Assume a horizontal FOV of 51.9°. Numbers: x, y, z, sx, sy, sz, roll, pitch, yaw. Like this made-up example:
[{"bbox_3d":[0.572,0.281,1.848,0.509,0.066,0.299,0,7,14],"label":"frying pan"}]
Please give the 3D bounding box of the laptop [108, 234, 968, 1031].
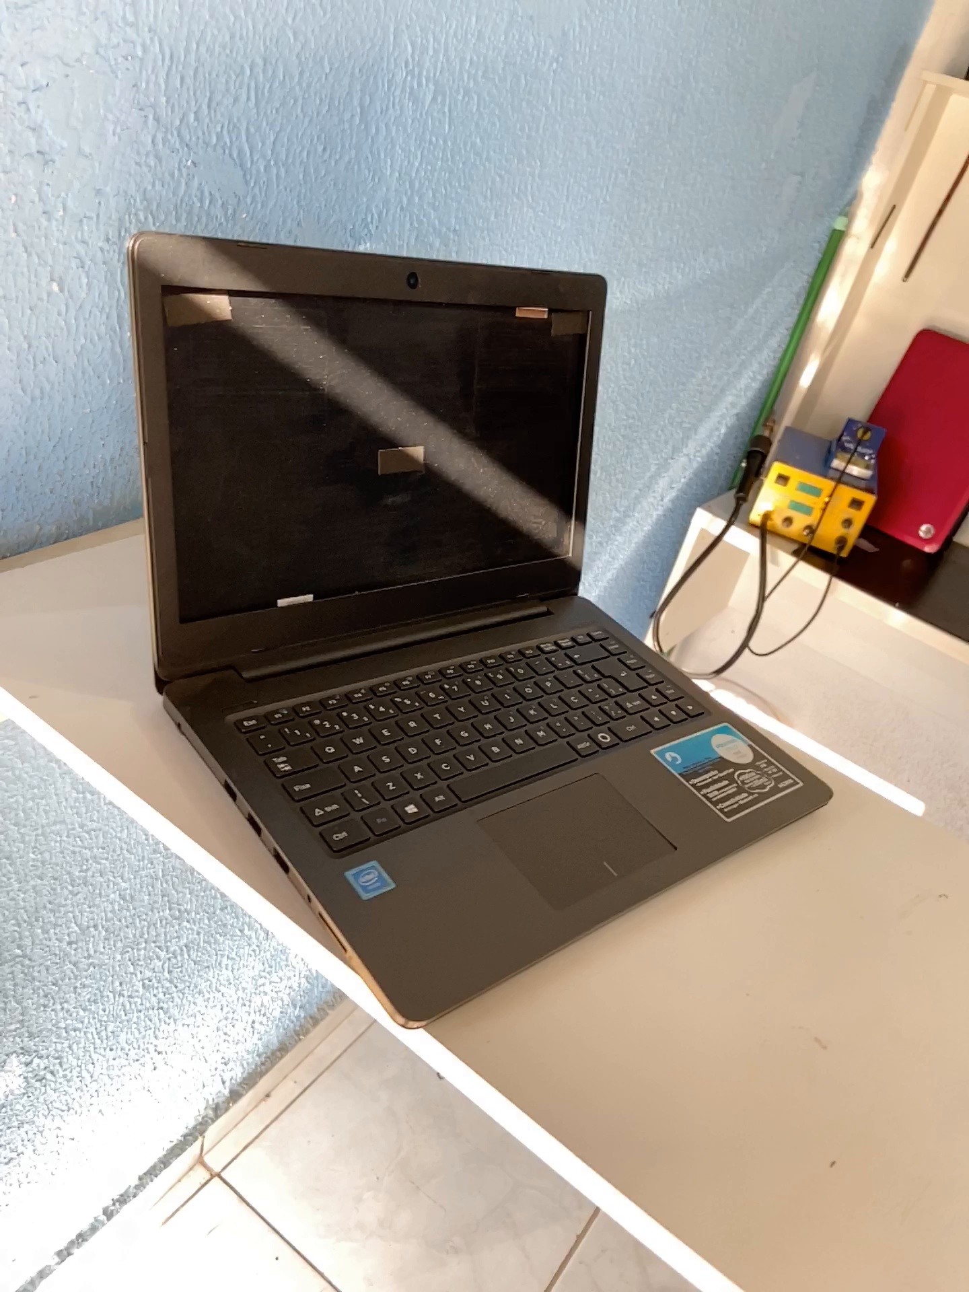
[{"bbox_3d":[0.026,-0.051,0.548,0.339,0.214,0.310,-14,43,-40],"label":"laptop"}]
